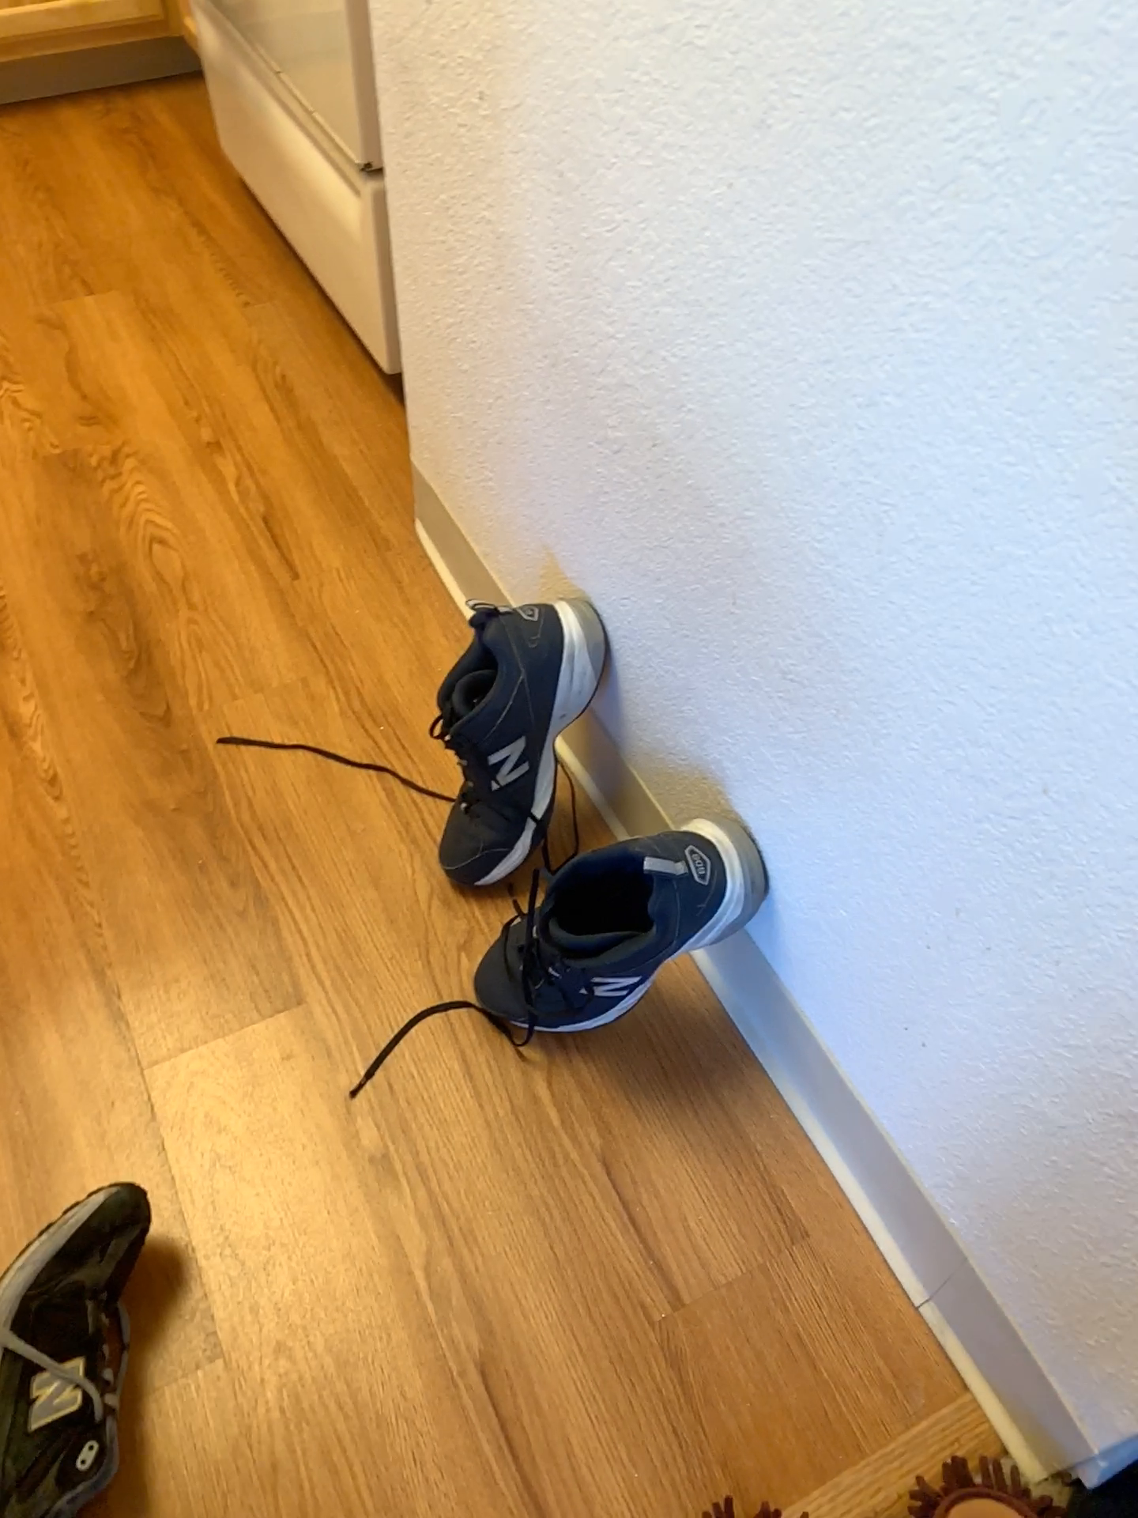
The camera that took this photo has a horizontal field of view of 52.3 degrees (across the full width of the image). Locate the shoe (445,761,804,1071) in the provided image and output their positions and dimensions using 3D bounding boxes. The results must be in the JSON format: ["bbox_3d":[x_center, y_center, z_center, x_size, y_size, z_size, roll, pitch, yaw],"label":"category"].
[{"bbox_3d":[0.031,0.122,0.871,0.110,0.259,0.110,-7,62,-41],"label":"shoe"}]

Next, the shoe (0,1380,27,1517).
[{"bbox_3d":[-0.540,0.602,0.794,0.301,0.169,0.120,33,56,22],"label":"shoe"}]

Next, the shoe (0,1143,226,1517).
[{"bbox_3d":[-0.360,0.437,0.787,0.110,0.109,0.301,6,50,12],"label":"shoe"}]

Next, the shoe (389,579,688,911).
[{"bbox_3d":[-0.034,-0.019,1.159,0.150,0.259,0.180,35,31,24],"label":"shoe"}]
